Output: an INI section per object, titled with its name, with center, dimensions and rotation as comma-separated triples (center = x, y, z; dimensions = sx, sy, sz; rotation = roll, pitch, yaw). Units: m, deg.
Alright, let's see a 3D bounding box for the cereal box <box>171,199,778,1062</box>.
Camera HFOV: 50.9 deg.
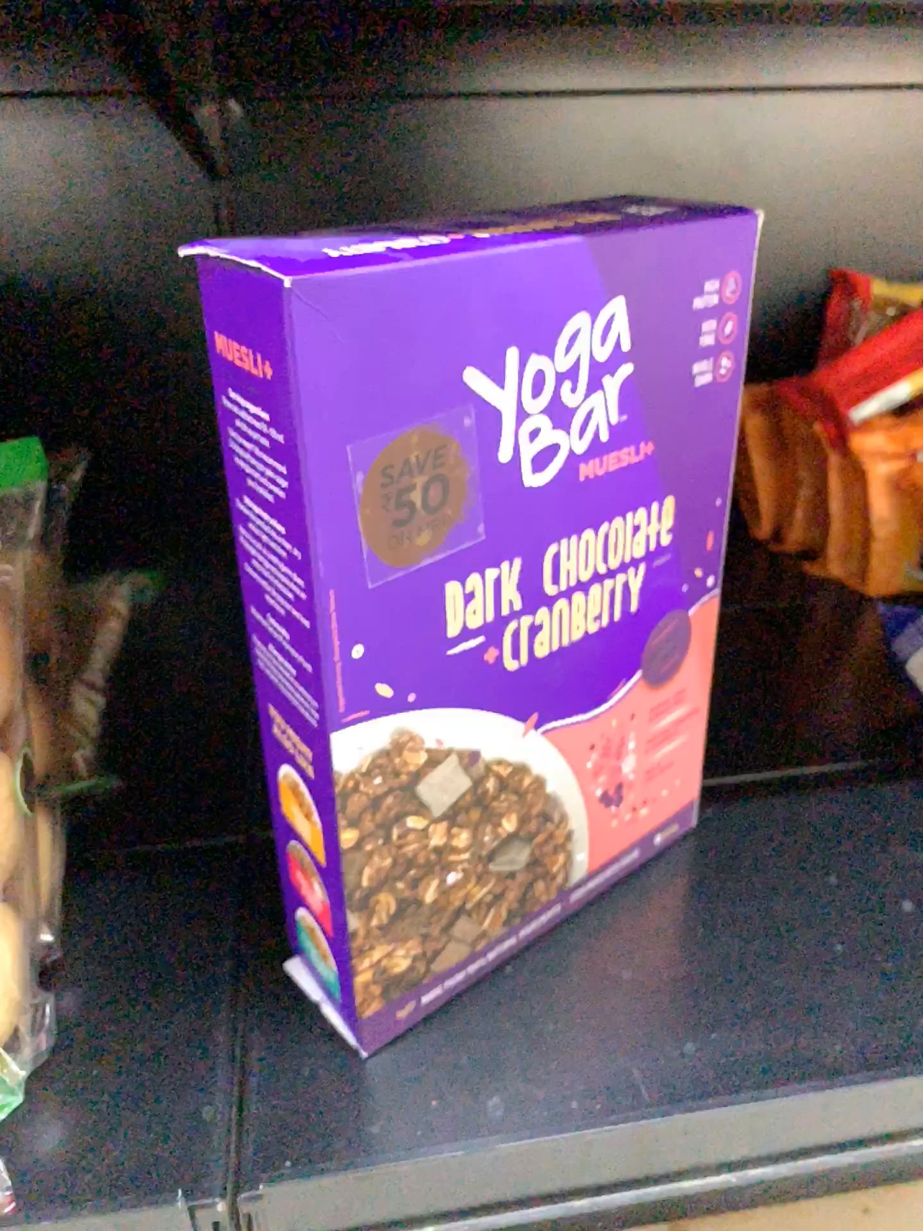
[cereal box]
center = 0.016, -0.002, 0.308
dimensions = 0.170, 0.228, 0.050
rotation = -21, 32, -35
